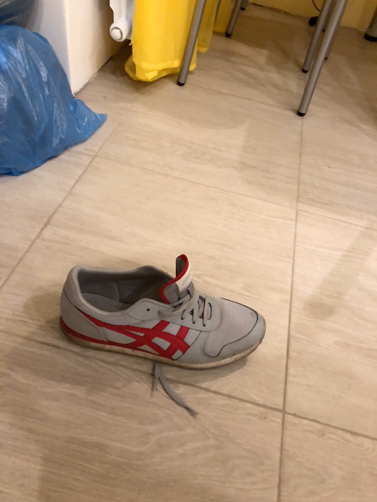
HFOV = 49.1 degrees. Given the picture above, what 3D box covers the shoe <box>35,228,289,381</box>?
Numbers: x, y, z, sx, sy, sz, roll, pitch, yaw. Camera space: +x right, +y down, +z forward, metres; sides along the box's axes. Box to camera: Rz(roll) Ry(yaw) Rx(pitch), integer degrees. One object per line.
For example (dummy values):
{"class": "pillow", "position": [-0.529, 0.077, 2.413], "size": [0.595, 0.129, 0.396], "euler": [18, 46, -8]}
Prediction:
{"class": "shoe", "position": [-0.033, 0.076, 0.563], "size": [0.298, 0.129, 0.111], "euler": [9, 46, -3]}
